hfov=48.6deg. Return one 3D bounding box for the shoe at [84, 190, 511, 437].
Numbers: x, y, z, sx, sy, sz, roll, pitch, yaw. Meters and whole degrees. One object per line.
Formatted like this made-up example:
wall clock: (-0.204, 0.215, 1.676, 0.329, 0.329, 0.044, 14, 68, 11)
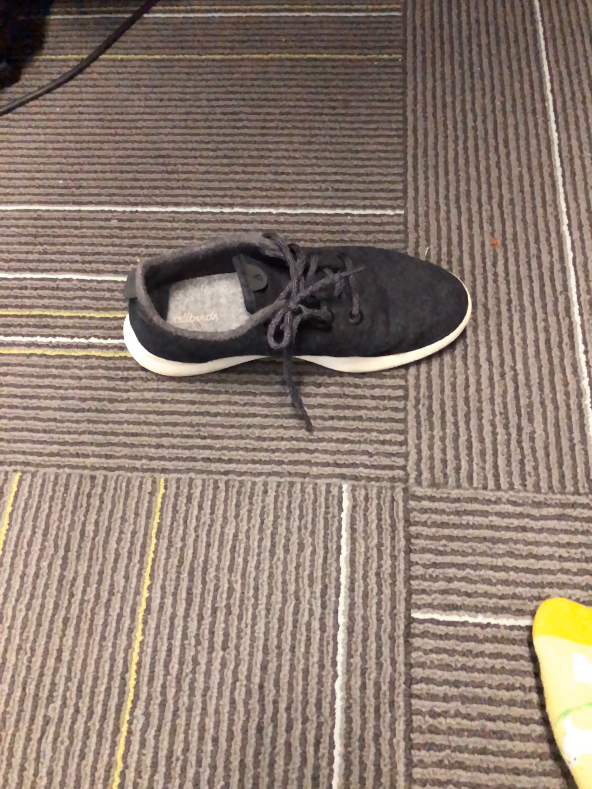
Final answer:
shoe: (-0.005, -0.060, 0.484, 0.280, 0.060, 0.140, -6, 65, 1)
